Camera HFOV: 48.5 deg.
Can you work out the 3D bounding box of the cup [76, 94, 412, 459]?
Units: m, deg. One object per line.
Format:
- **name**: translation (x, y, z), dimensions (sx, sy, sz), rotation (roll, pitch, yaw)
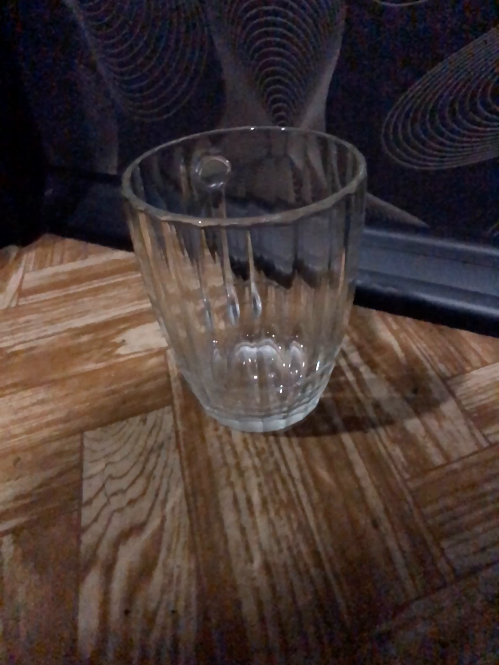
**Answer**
- **cup**: translation (-0.009, -0.035, 0.264), dimensions (0.113, 0.107, 0.126), rotation (-11, 37, -8)
